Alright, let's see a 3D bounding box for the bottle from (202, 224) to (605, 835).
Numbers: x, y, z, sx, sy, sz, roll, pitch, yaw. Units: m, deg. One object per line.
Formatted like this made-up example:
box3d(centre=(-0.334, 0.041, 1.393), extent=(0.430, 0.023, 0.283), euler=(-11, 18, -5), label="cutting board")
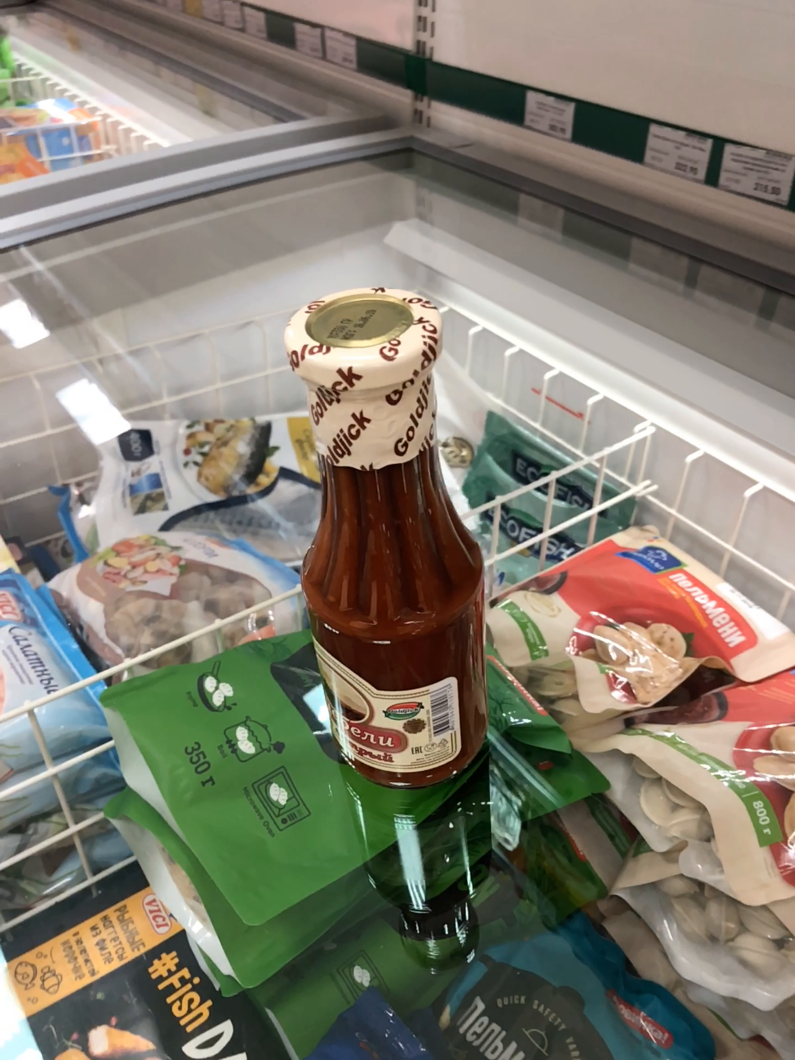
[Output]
box3d(centre=(0.004, 0.005, 0.302), extent=(0.080, 0.179, 0.080), euler=(-2, 40, 1), label="bottle")
